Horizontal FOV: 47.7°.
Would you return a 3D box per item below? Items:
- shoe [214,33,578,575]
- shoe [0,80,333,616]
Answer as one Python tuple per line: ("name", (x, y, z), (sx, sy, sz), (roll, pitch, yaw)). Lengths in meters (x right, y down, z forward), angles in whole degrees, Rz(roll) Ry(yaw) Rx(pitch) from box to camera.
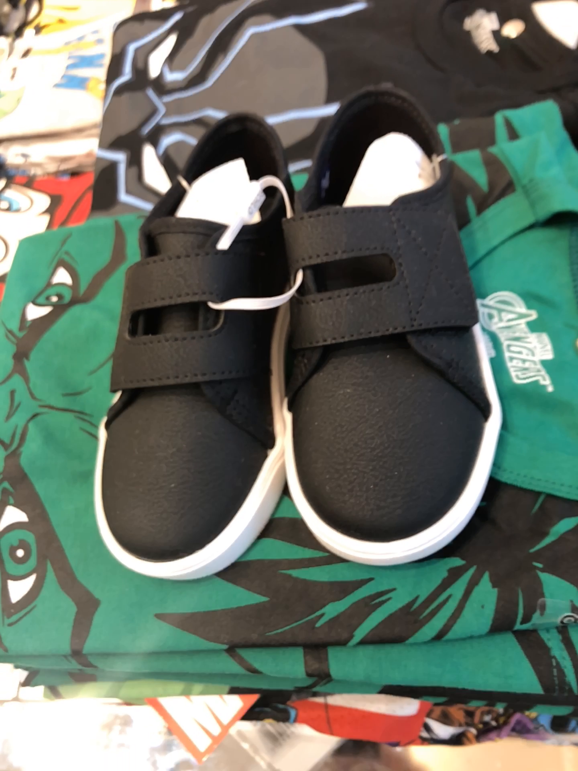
("shoe", (0.034, -0.028, 0.238), (0.090, 0.090, 0.171), (-1, 63, 7))
("shoe", (-0.036, -0.015, 0.241), (0.080, 0.090, 0.171), (5, 64, 9))
